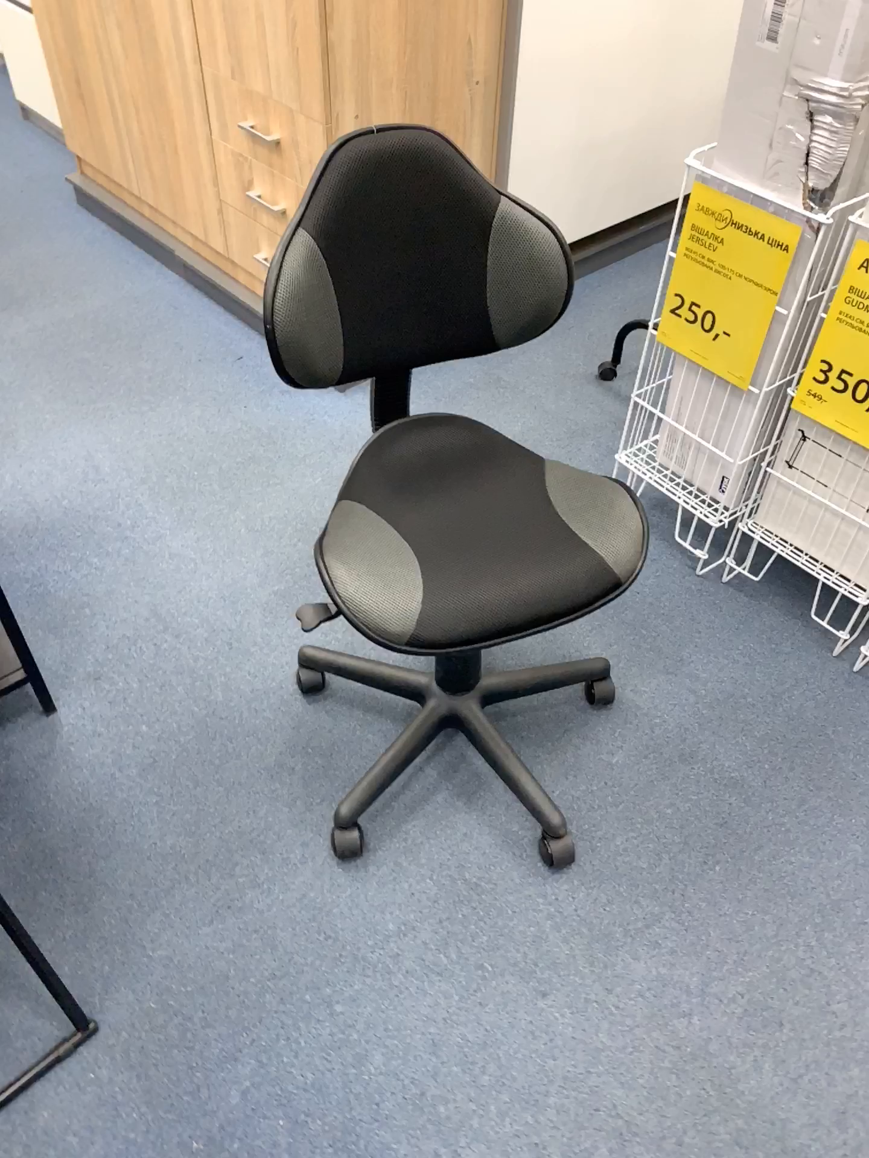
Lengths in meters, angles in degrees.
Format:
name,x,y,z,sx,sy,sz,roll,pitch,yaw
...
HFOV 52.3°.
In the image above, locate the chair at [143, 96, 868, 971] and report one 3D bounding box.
name,x,y,z,sx,sy,sz,roll,pitch,yaw
chair,0.056,-0.060,1.282,0.630,0.916,0.693,-16,48,-17
